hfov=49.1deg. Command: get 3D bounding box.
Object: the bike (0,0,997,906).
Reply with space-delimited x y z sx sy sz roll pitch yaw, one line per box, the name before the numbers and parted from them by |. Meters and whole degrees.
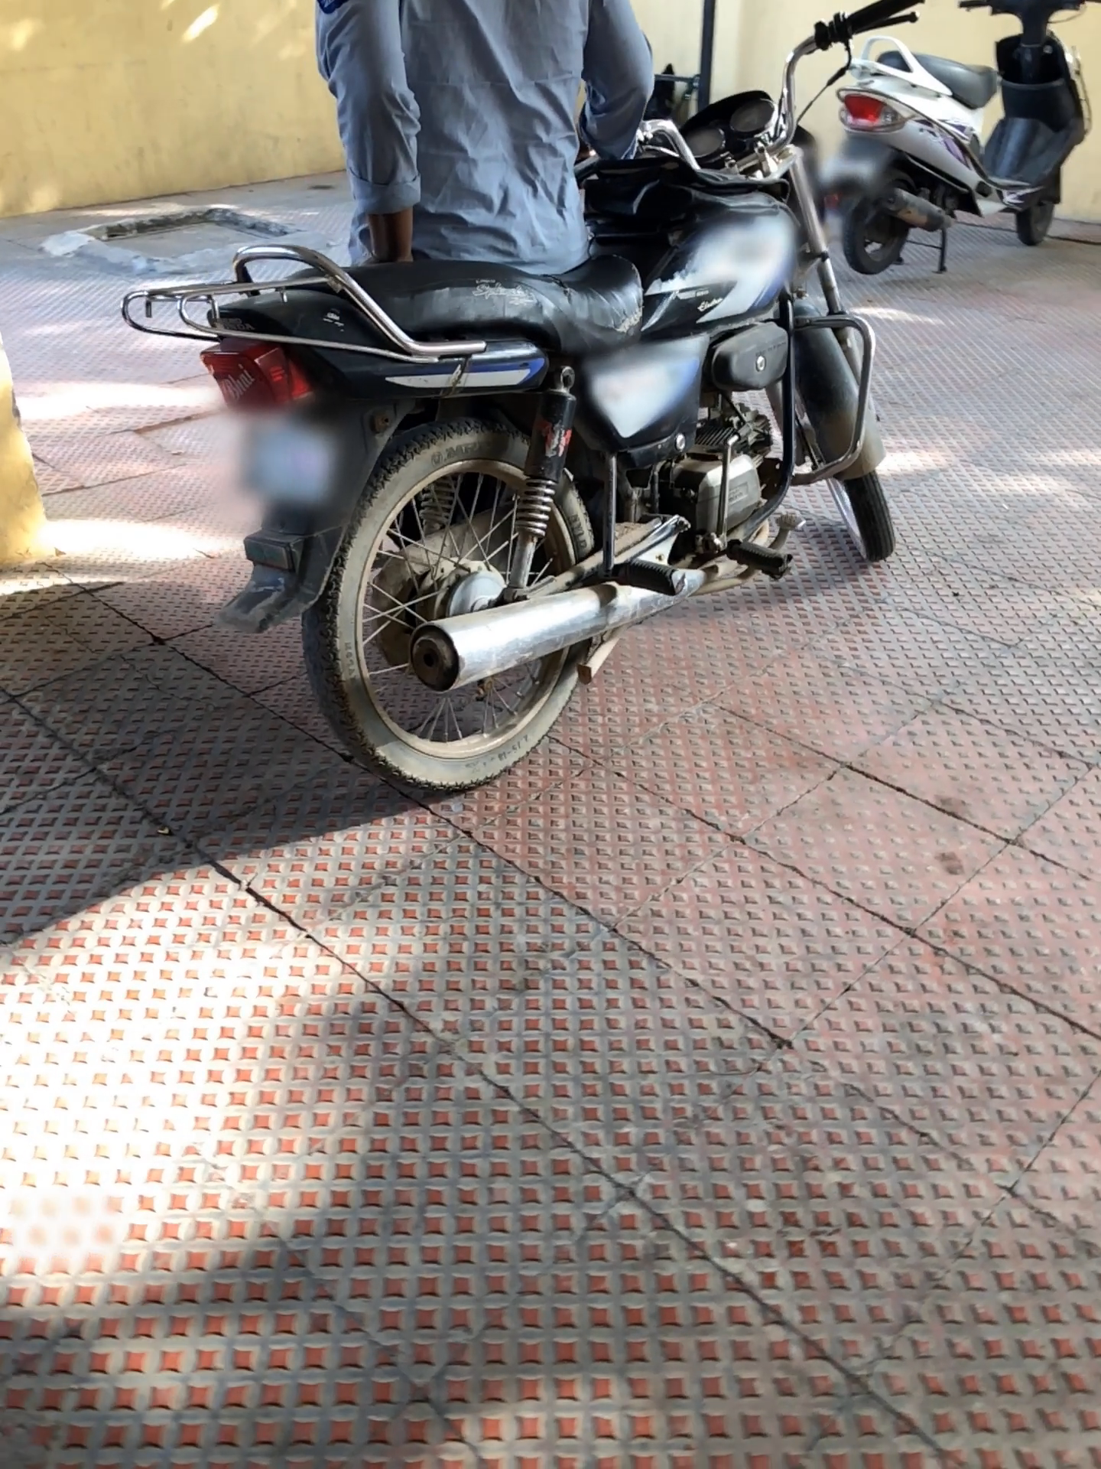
bike | -0.004 -0.641 2.041 0.818 1.062 1.306 24 41 31
